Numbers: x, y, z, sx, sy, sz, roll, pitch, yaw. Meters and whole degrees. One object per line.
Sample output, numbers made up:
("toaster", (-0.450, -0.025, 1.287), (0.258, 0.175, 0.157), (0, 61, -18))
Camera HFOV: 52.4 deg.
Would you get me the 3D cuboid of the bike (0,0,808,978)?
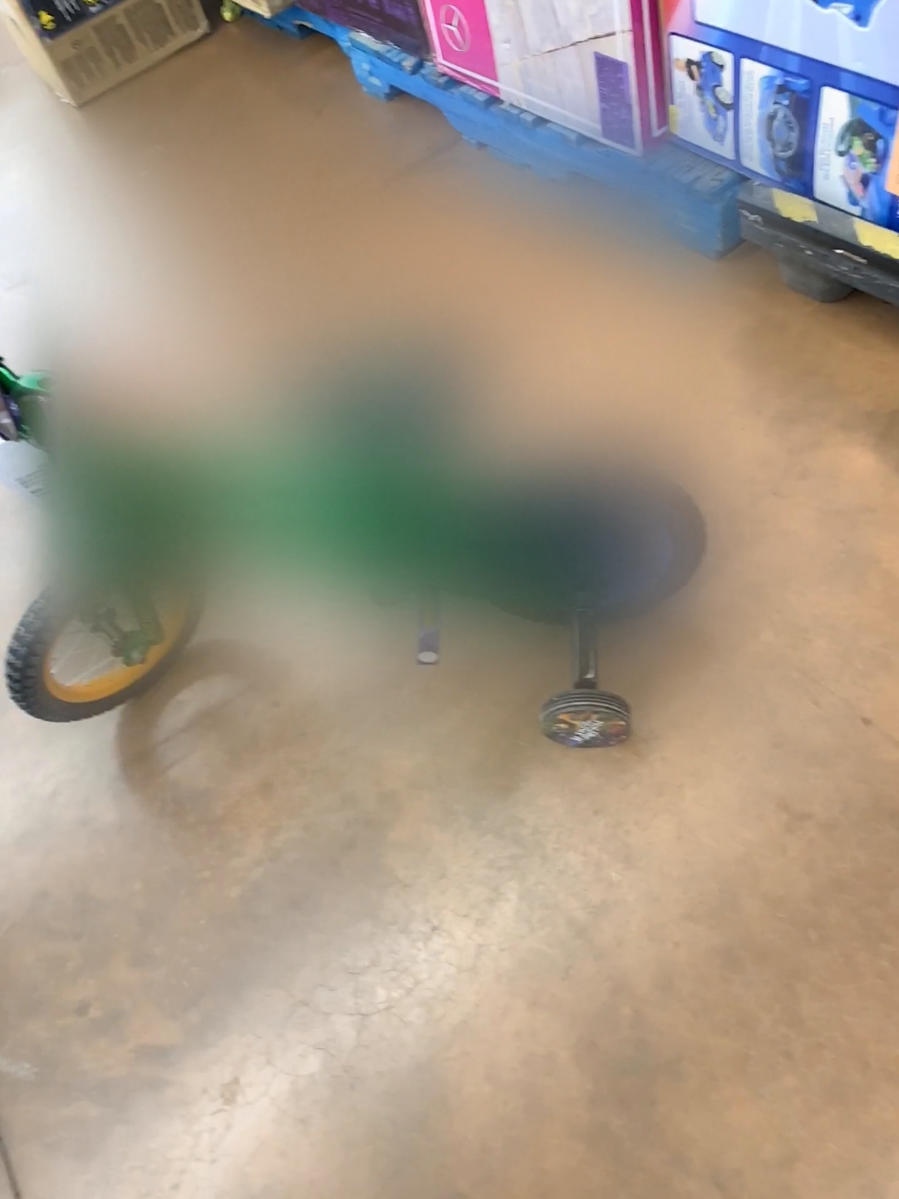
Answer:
("bike", (-0.166, -0.085, 0.869), (0.850, 0.733, 0.491), (-13, 52, 4))
